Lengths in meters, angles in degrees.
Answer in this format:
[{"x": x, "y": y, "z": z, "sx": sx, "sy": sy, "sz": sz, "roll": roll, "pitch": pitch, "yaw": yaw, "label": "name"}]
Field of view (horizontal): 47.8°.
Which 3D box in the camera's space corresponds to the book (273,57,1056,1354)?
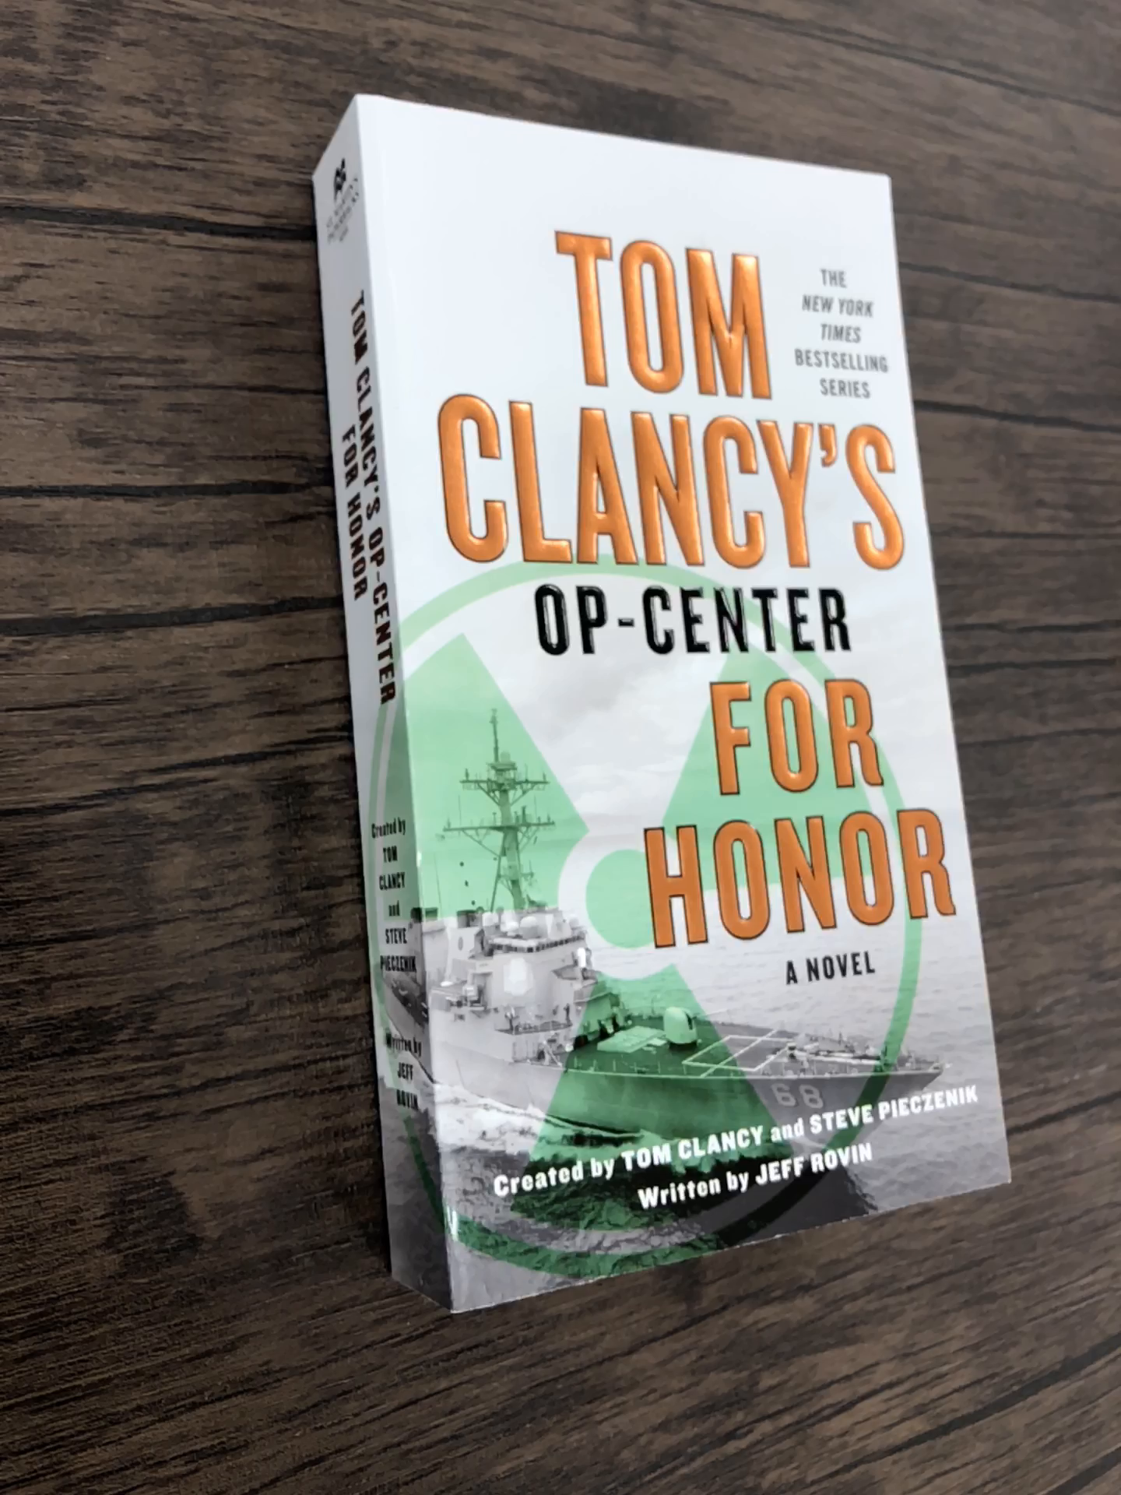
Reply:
[{"x": 0.017, "y": -0.011, "z": 0.224, "sx": 0.113, "sy": 0.040, "sz": 0.190, "roll": -3, "pitch": 83, "yaw": -25, "label": "book"}]
